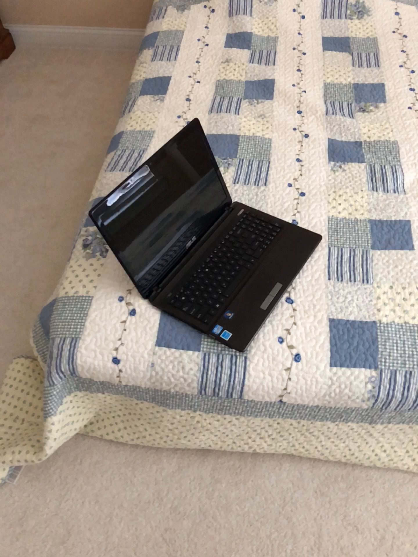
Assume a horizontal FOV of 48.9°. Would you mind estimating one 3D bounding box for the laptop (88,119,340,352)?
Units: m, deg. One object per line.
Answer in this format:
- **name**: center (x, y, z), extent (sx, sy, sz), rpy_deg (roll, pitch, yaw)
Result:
- **laptop**: center (0.019, -0.110, 0.972), extent (0.350, 0.193, 0.358), rpy_deg (27, 58, 20)
